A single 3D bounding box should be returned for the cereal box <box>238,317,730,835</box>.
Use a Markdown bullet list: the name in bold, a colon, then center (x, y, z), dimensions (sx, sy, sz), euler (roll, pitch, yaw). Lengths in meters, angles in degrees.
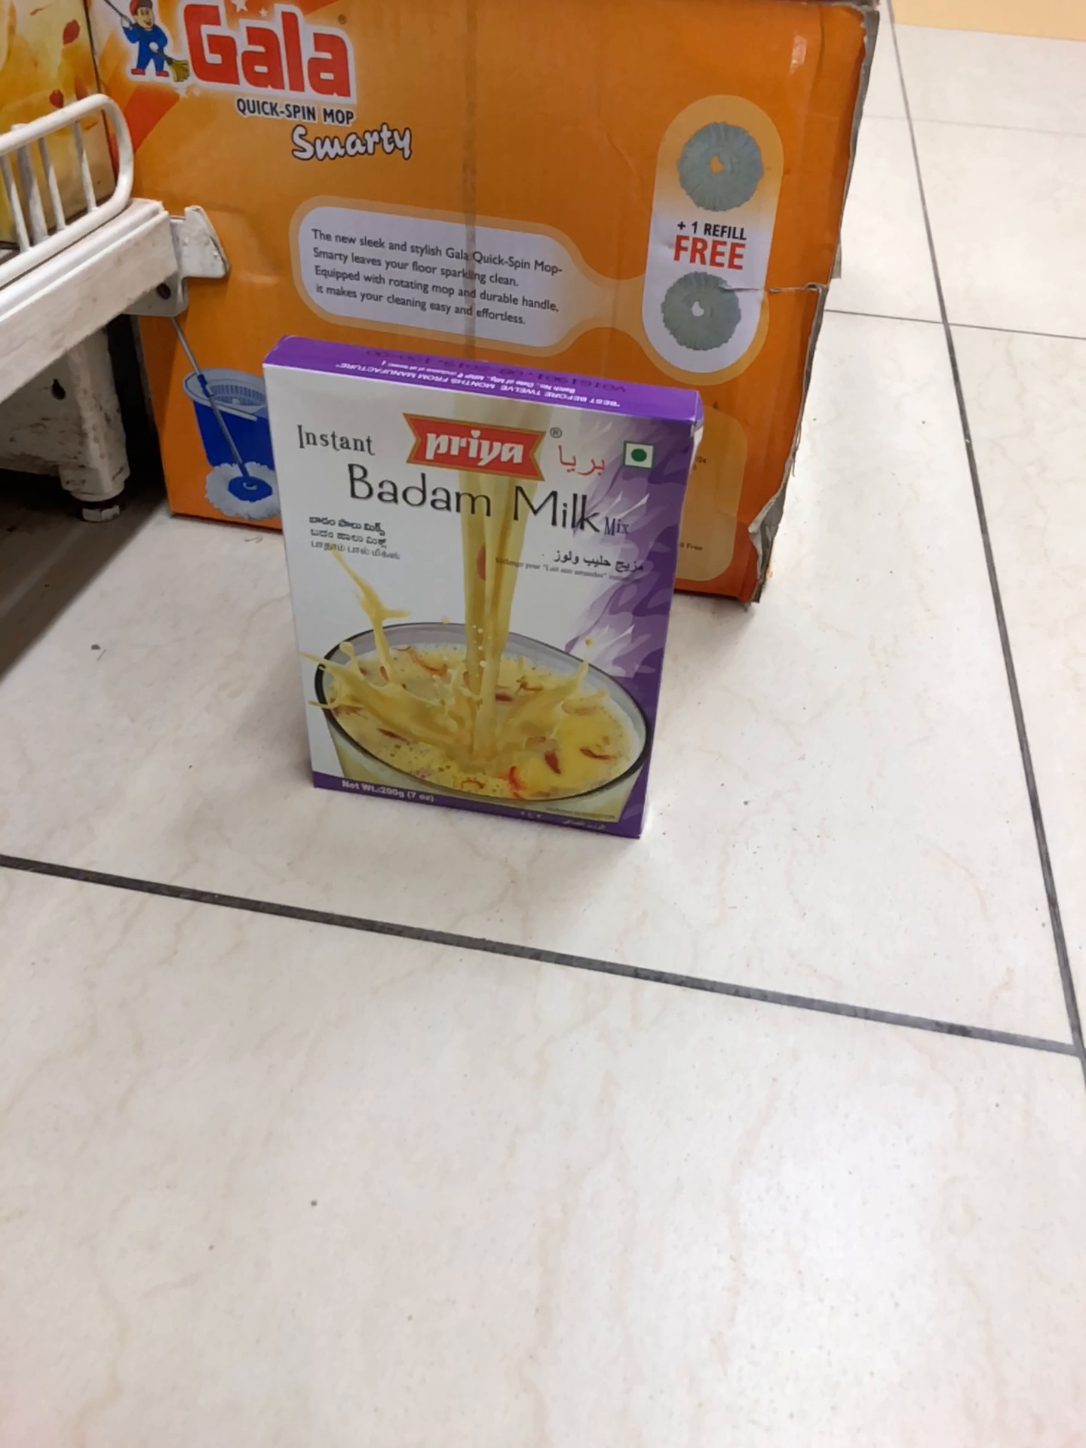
- **cereal box**: center (-0.018, -0.040, 0.371), dimensions (0.130, 0.149, 0.030), euler (9, 39, 6)
